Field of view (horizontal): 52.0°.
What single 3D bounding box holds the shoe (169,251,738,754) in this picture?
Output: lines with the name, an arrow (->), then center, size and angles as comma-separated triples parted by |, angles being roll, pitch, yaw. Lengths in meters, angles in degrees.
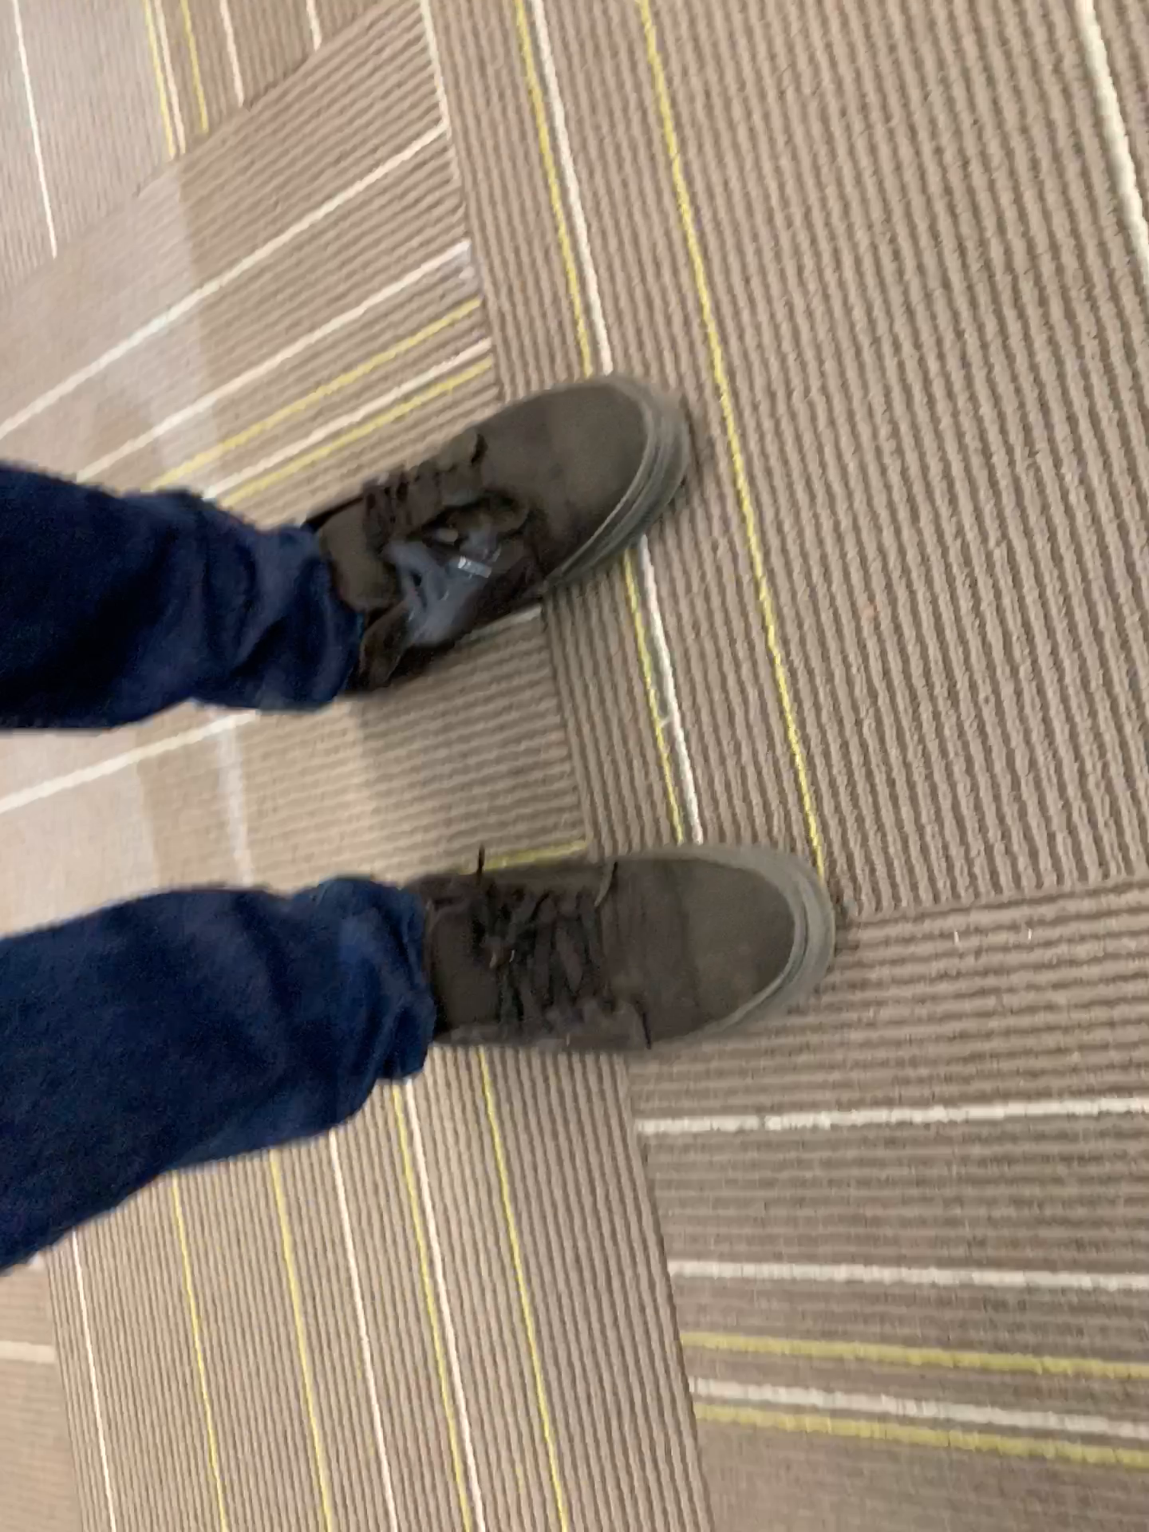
shoe -> -0.076, -0.122, 0.644 | 0.293, 0.113, 0.109 | -31, 74, 31

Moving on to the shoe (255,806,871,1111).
shoe -> -0.016, 0.103, 0.608 | 0.293, 0.113, 0.109 | -14, 84, 34
